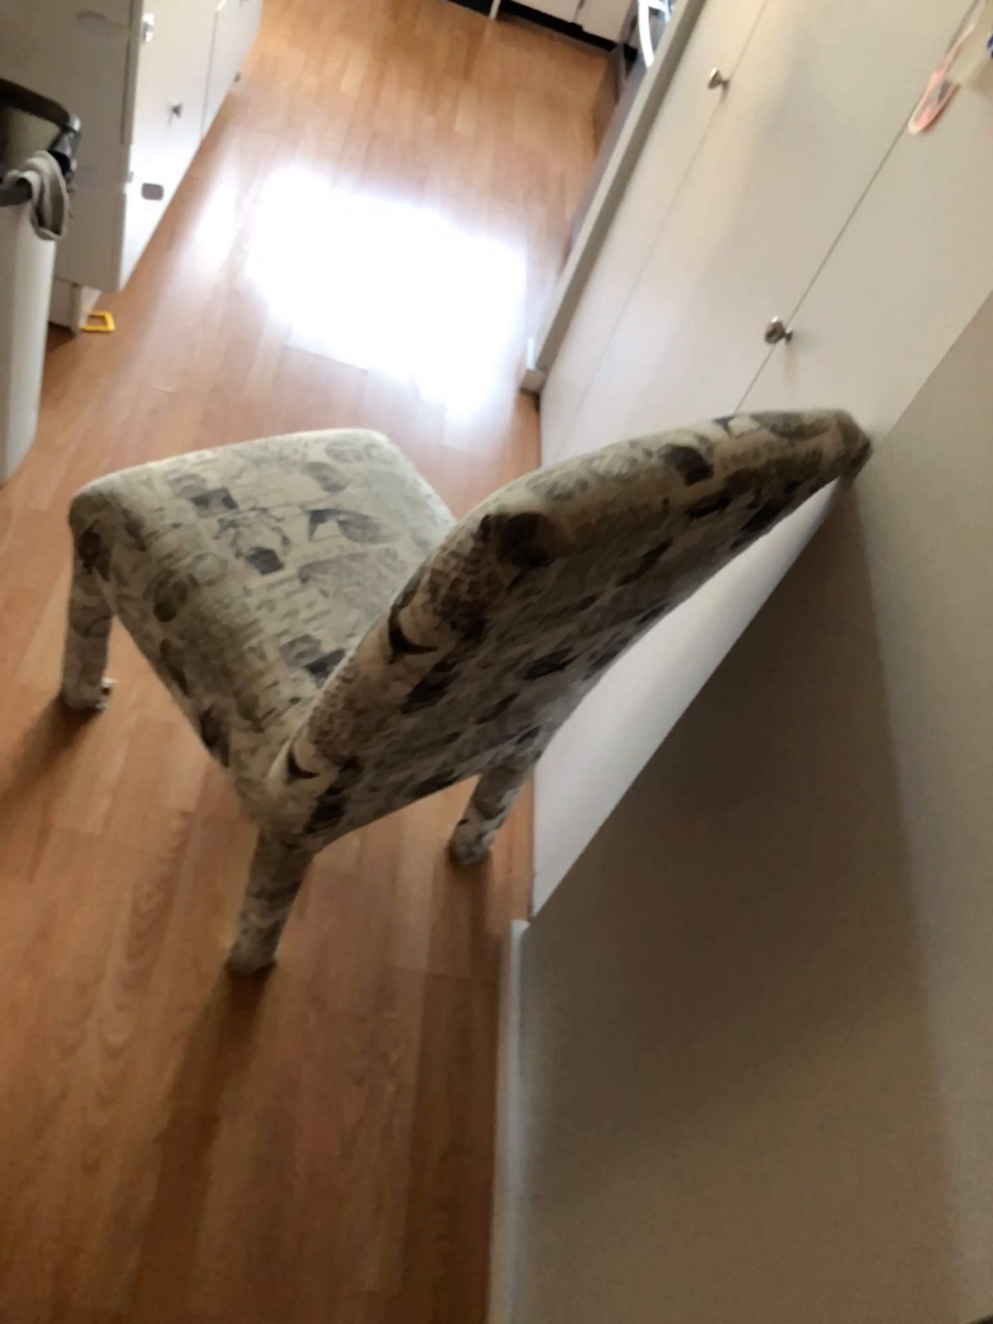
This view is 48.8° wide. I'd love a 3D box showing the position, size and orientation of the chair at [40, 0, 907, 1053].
[{"bbox_3d":[-0.159,-0.120,1.362,0.521,0.997,0.671,-20,61,-36],"label":"chair"}]
